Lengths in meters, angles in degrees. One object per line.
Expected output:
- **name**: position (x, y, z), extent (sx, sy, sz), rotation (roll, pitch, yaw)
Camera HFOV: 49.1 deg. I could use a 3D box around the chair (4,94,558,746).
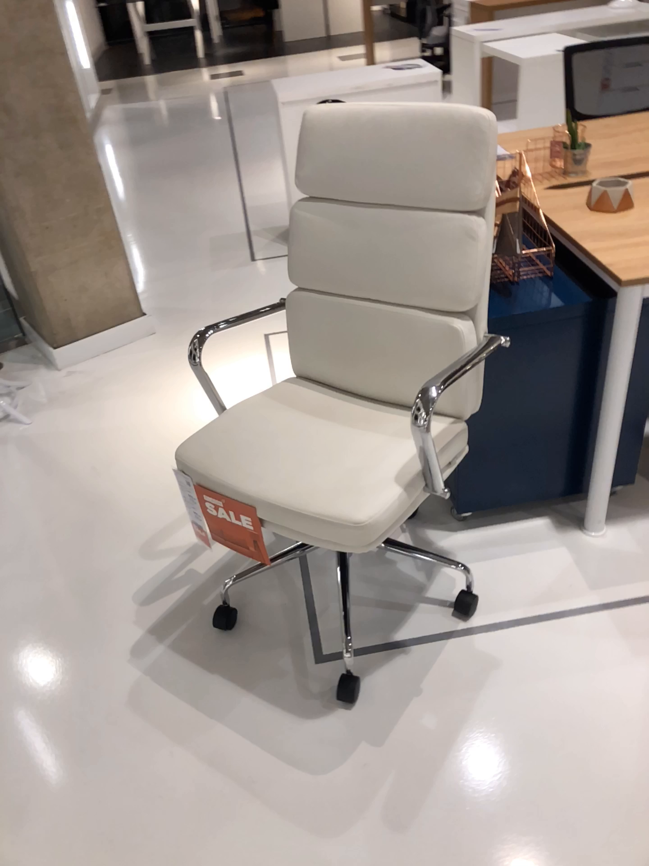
- **chair**: position (-0.001, -0.068, 1.458), extent (0.662, 1.012, 0.653), rotation (17, 42, 31)
